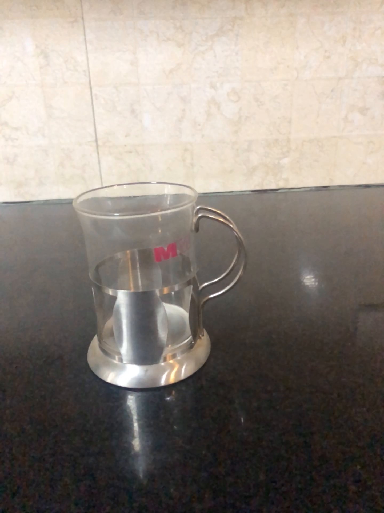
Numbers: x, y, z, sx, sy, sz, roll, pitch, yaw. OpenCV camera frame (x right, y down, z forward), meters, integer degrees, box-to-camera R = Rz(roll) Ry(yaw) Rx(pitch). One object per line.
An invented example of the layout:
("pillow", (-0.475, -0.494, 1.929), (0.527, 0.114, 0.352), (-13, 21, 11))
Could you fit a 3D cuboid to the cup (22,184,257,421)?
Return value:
("cup", (-0.025, 0.022, 0.258), (0.110, 0.109, 0.080), (-3, 22, -3))
